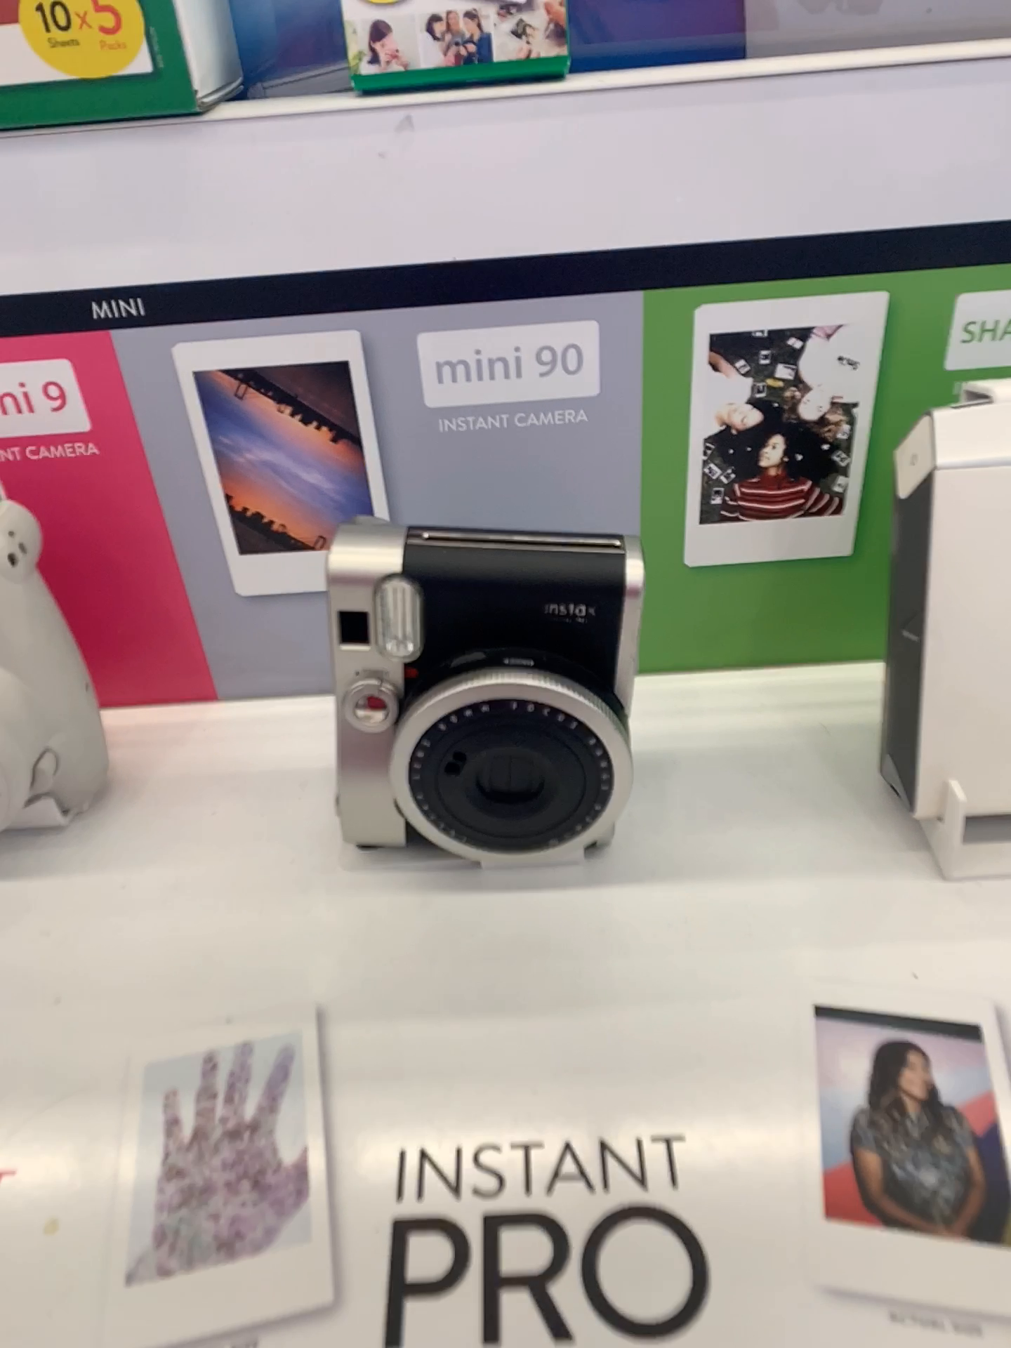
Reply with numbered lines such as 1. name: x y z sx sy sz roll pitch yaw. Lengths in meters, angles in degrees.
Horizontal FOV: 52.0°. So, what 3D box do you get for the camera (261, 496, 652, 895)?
1. camera: -0.012 0.008 0.317 0.100 0.109 0.051 3 36 3
